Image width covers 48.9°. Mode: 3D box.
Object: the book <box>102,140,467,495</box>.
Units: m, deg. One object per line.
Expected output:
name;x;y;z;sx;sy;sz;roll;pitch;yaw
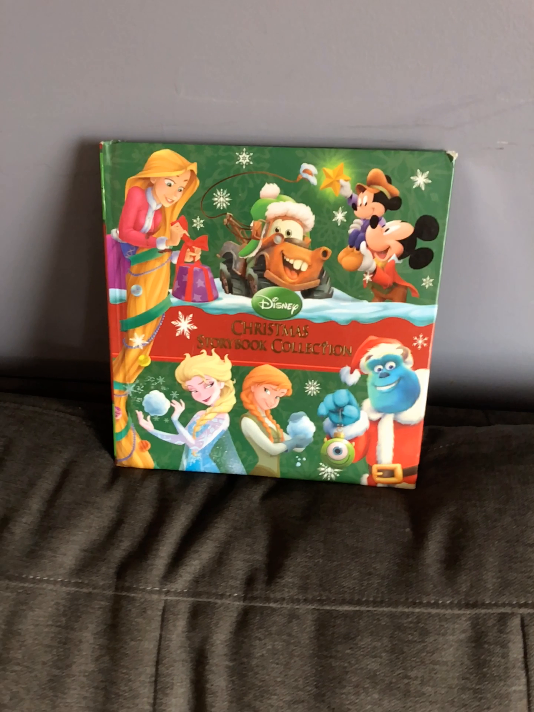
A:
book;0.006;-0.023;0.418;0.227;0.238;0.033;4;19;6
